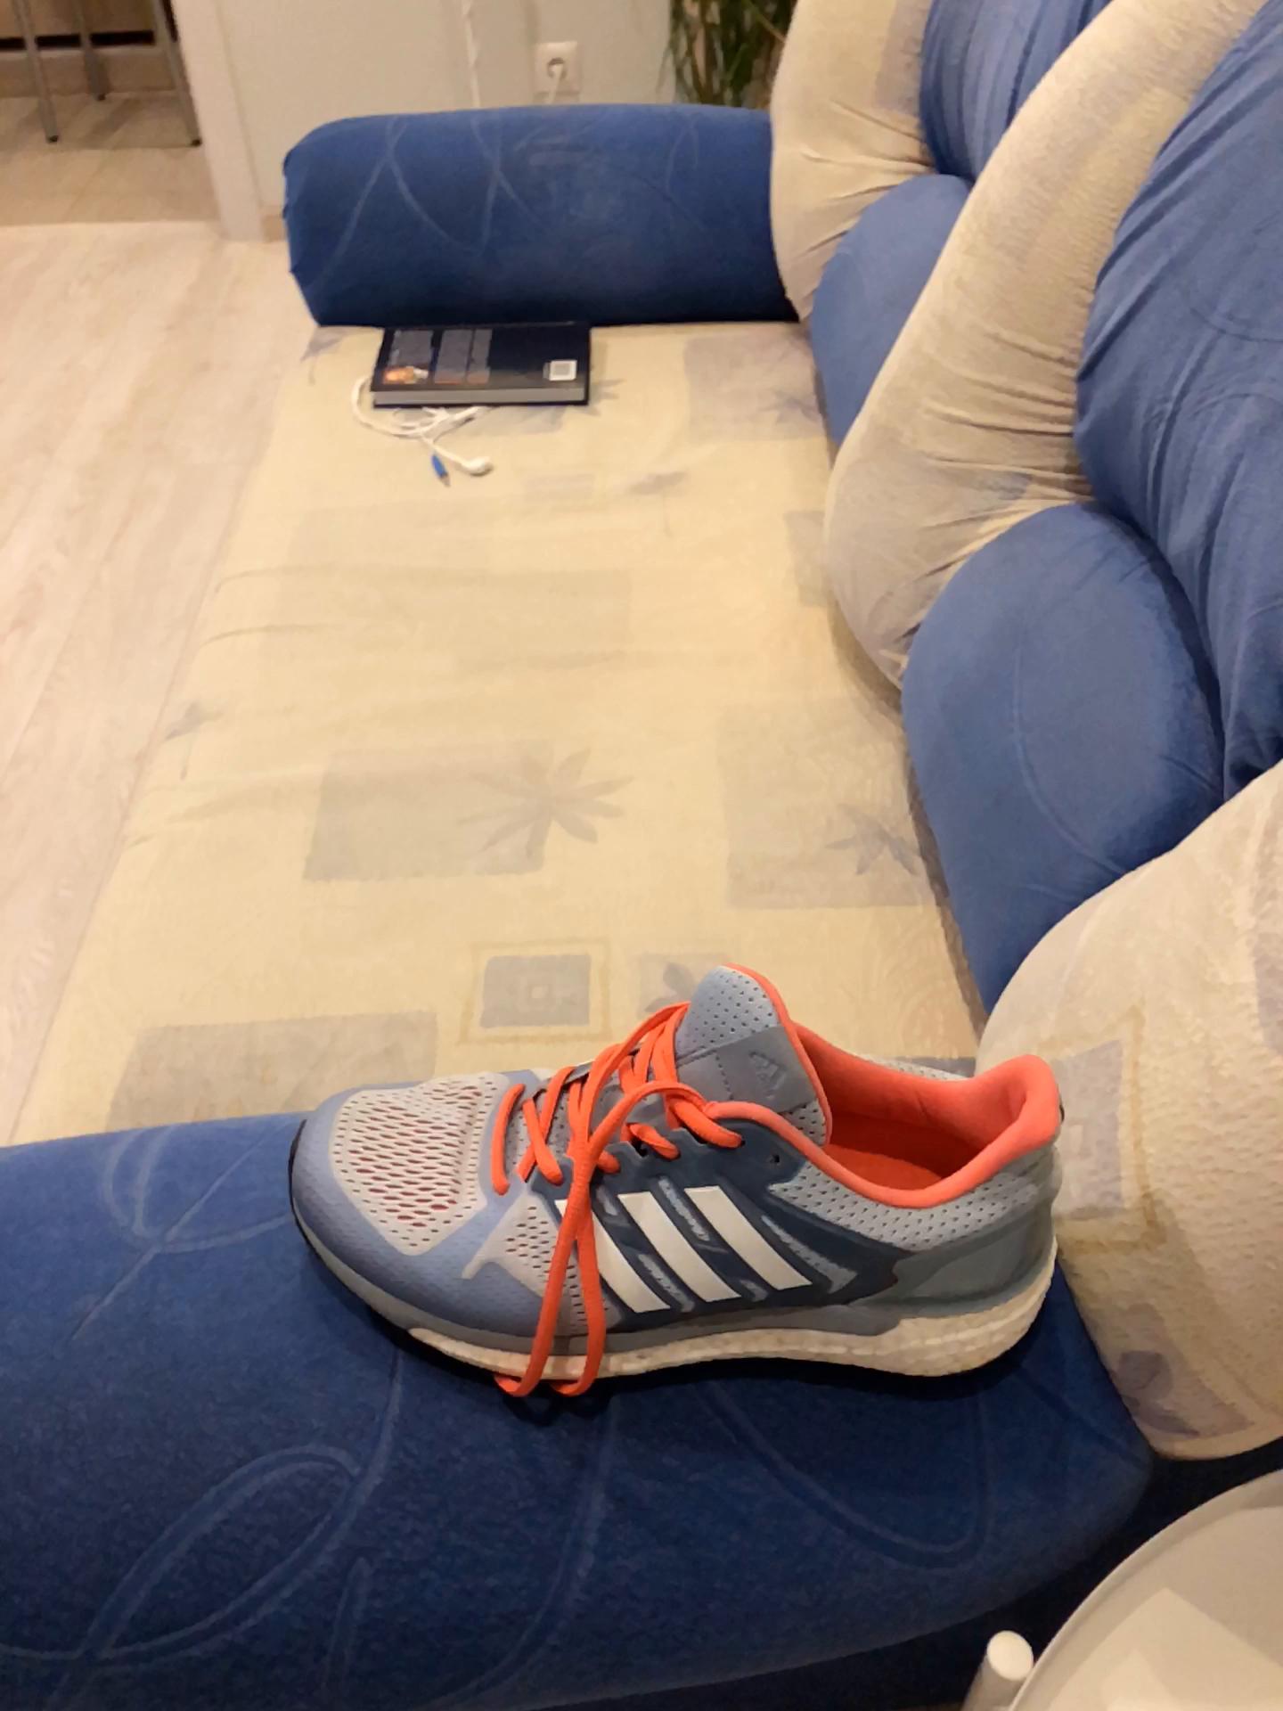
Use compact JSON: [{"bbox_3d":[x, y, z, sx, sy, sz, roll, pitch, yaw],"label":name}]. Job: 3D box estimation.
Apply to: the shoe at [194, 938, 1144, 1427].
[{"bbox_3d":[0.010,0.108,0.477,0.270,0.109,0.108,1,44,4],"label":"shoe"}]
